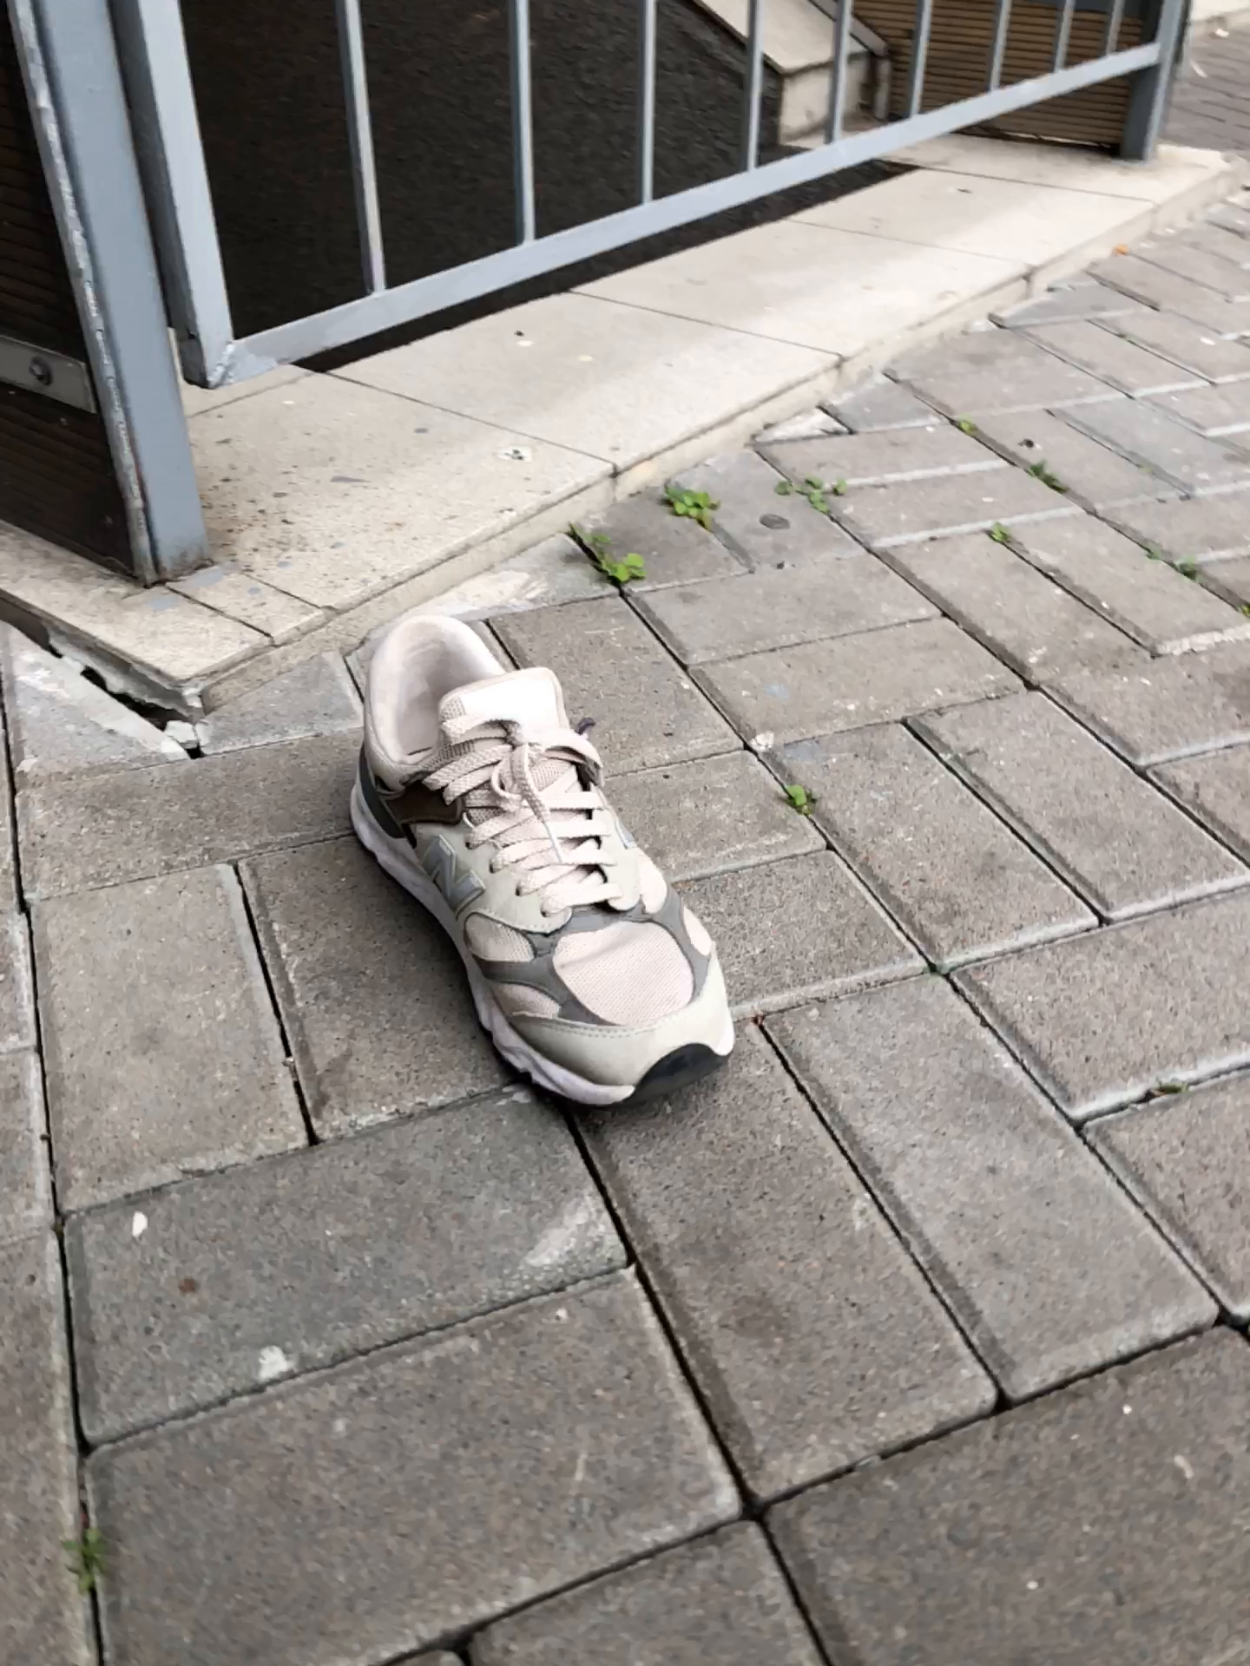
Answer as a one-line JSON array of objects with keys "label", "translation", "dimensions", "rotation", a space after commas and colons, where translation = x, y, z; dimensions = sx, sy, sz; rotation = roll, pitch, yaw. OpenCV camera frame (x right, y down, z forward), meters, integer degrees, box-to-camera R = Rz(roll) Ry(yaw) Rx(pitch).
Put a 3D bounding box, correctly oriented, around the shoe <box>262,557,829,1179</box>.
[{"label": "shoe", "translation": [-0.051, -0.006, 0.626], "dimensions": [0.120, 0.109, 0.302], "rotation": [-19, 41, -24]}]
